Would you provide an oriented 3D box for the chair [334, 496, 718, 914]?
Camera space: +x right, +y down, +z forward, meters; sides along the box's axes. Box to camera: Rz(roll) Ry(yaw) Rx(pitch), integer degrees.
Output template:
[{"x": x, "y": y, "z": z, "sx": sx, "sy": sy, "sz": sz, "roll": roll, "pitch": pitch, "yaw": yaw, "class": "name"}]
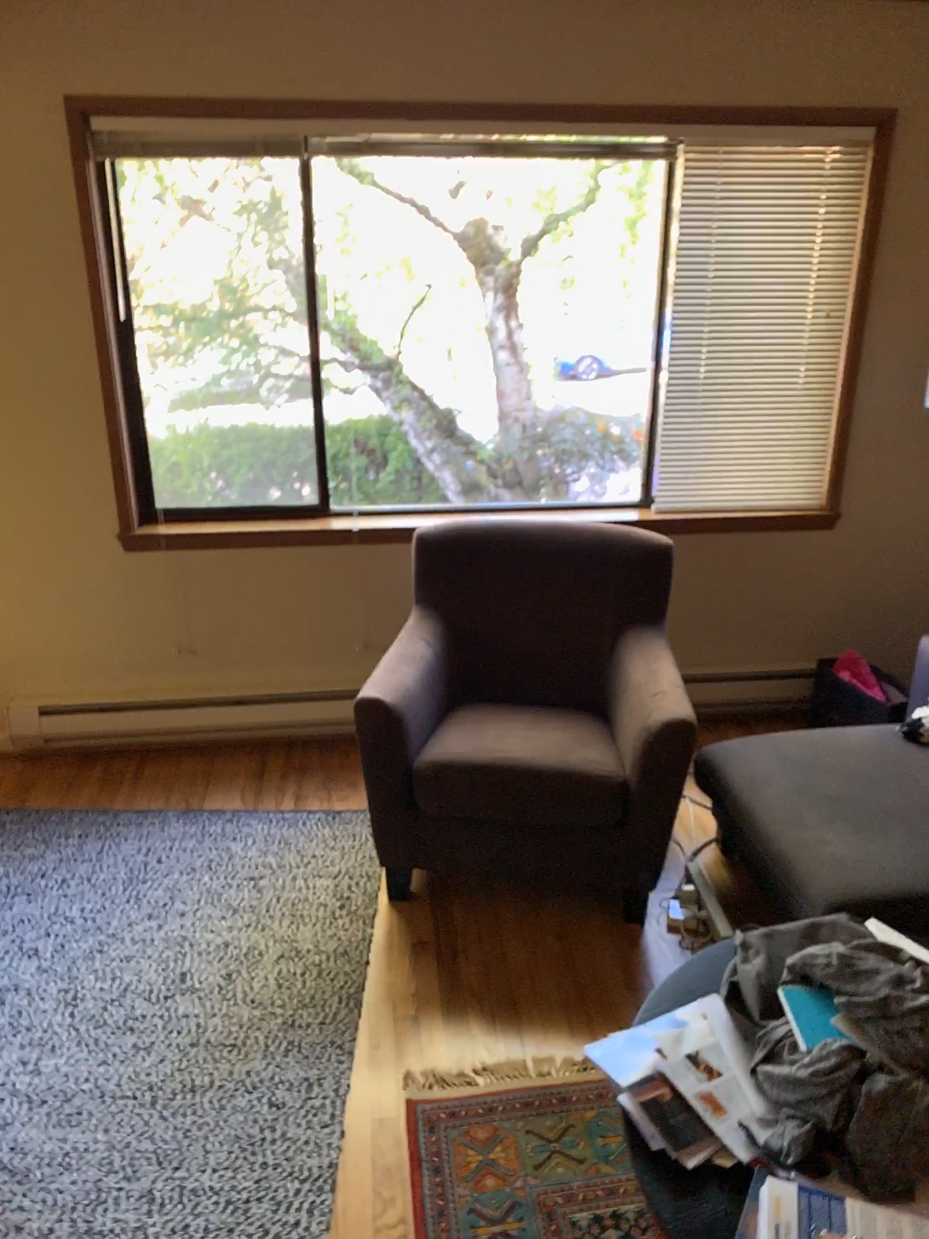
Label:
[{"x": 0.177, "y": 0.178, "z": 2.704, "sx": 0.880, "sy": 0.876, "sz": 0.803, "roll": 3, "pitch": 19, "yaw": 7, "class": "chair"}]
